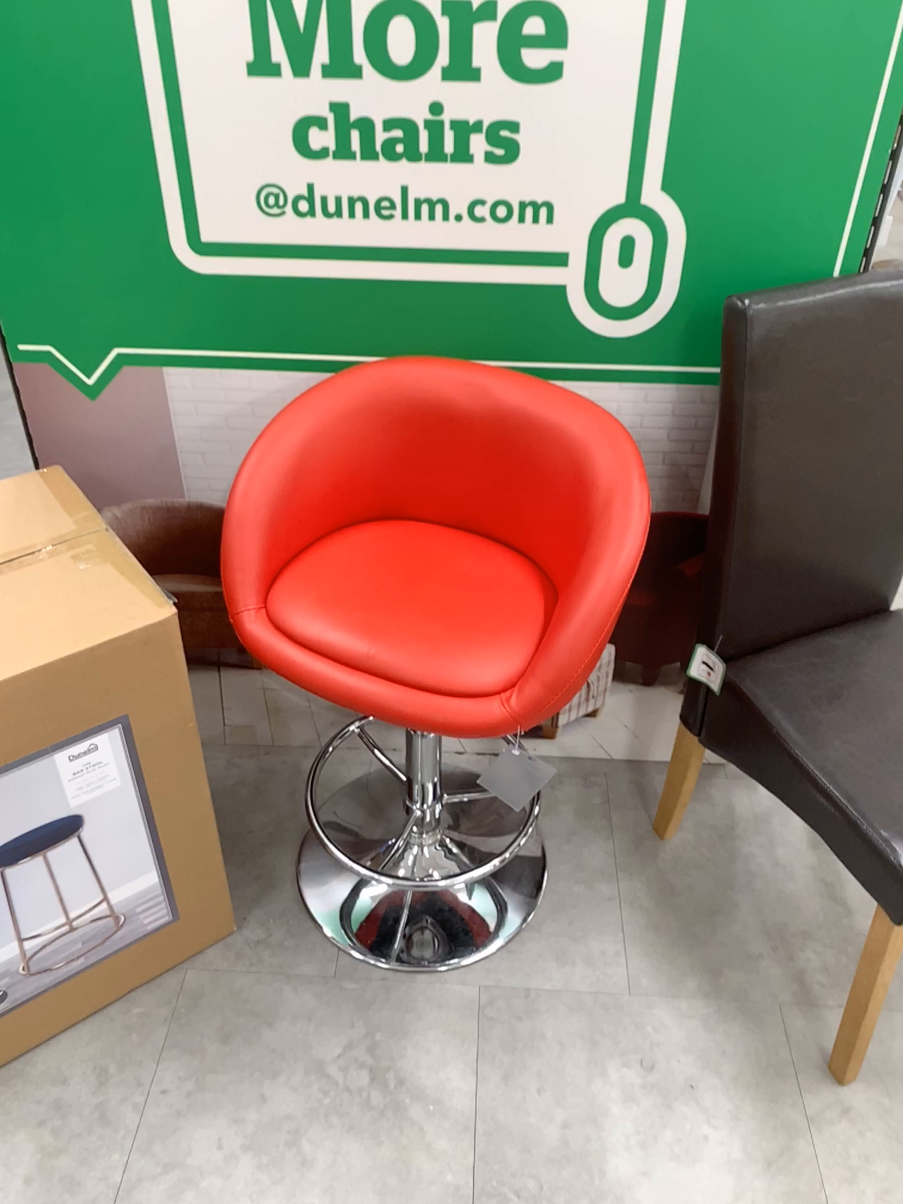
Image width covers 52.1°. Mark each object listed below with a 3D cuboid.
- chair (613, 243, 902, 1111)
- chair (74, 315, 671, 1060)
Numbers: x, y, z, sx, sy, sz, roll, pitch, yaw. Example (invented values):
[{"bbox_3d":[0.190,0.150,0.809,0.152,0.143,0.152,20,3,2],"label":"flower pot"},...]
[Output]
[{"bbox_3d":[0.590,0.098,1.207,0.445,0.919,0.521,-14,38,-20],"label":"chair"},{"bbox_3d":[-0.060,0.099,1.249,0.495,0.761,0.481,15,38,19],"label":"chair"}]
